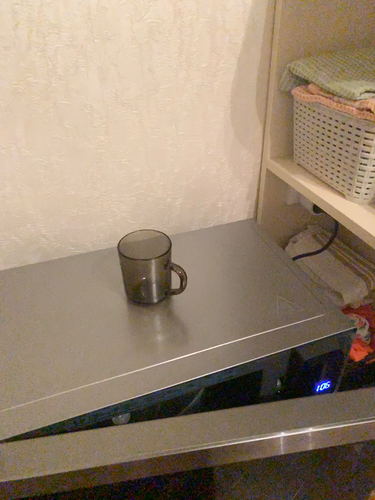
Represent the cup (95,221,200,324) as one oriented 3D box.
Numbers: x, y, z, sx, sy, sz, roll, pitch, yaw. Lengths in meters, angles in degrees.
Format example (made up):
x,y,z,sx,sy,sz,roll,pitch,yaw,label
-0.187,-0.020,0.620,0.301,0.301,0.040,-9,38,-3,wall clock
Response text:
x,y,z,sx,sy,sz,roll,pitch,yaw,label
-0.051,0.027,0.525,0.110,0.079,0.081,19,40,27,cup
